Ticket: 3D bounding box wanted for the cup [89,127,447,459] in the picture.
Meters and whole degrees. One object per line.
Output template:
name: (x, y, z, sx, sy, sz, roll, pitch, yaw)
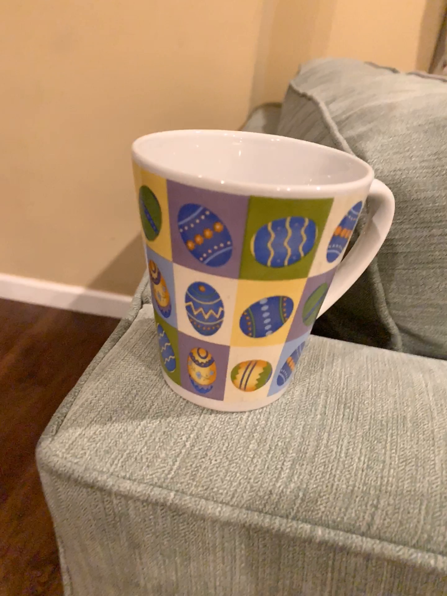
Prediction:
cup: (0.022, -0.019, 0.201, 0.123, 0.087, 0.096, -15, 35, -35)
